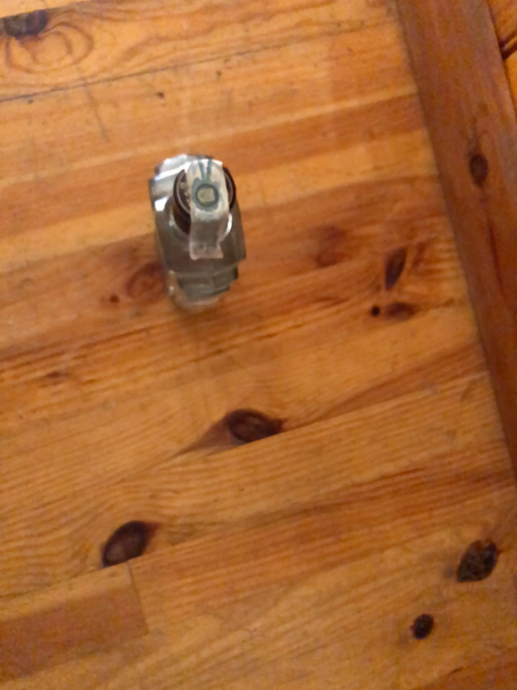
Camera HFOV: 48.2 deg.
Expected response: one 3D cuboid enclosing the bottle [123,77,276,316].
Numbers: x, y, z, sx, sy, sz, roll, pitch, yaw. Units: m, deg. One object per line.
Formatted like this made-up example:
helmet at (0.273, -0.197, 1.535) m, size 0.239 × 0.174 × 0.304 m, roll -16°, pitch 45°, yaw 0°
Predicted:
bottle at (-0.046, -0.081, 0.410) m, size 0.060 × 0.250 × 0.100 m, roll -9°, pitch 92°, yaw -8°
